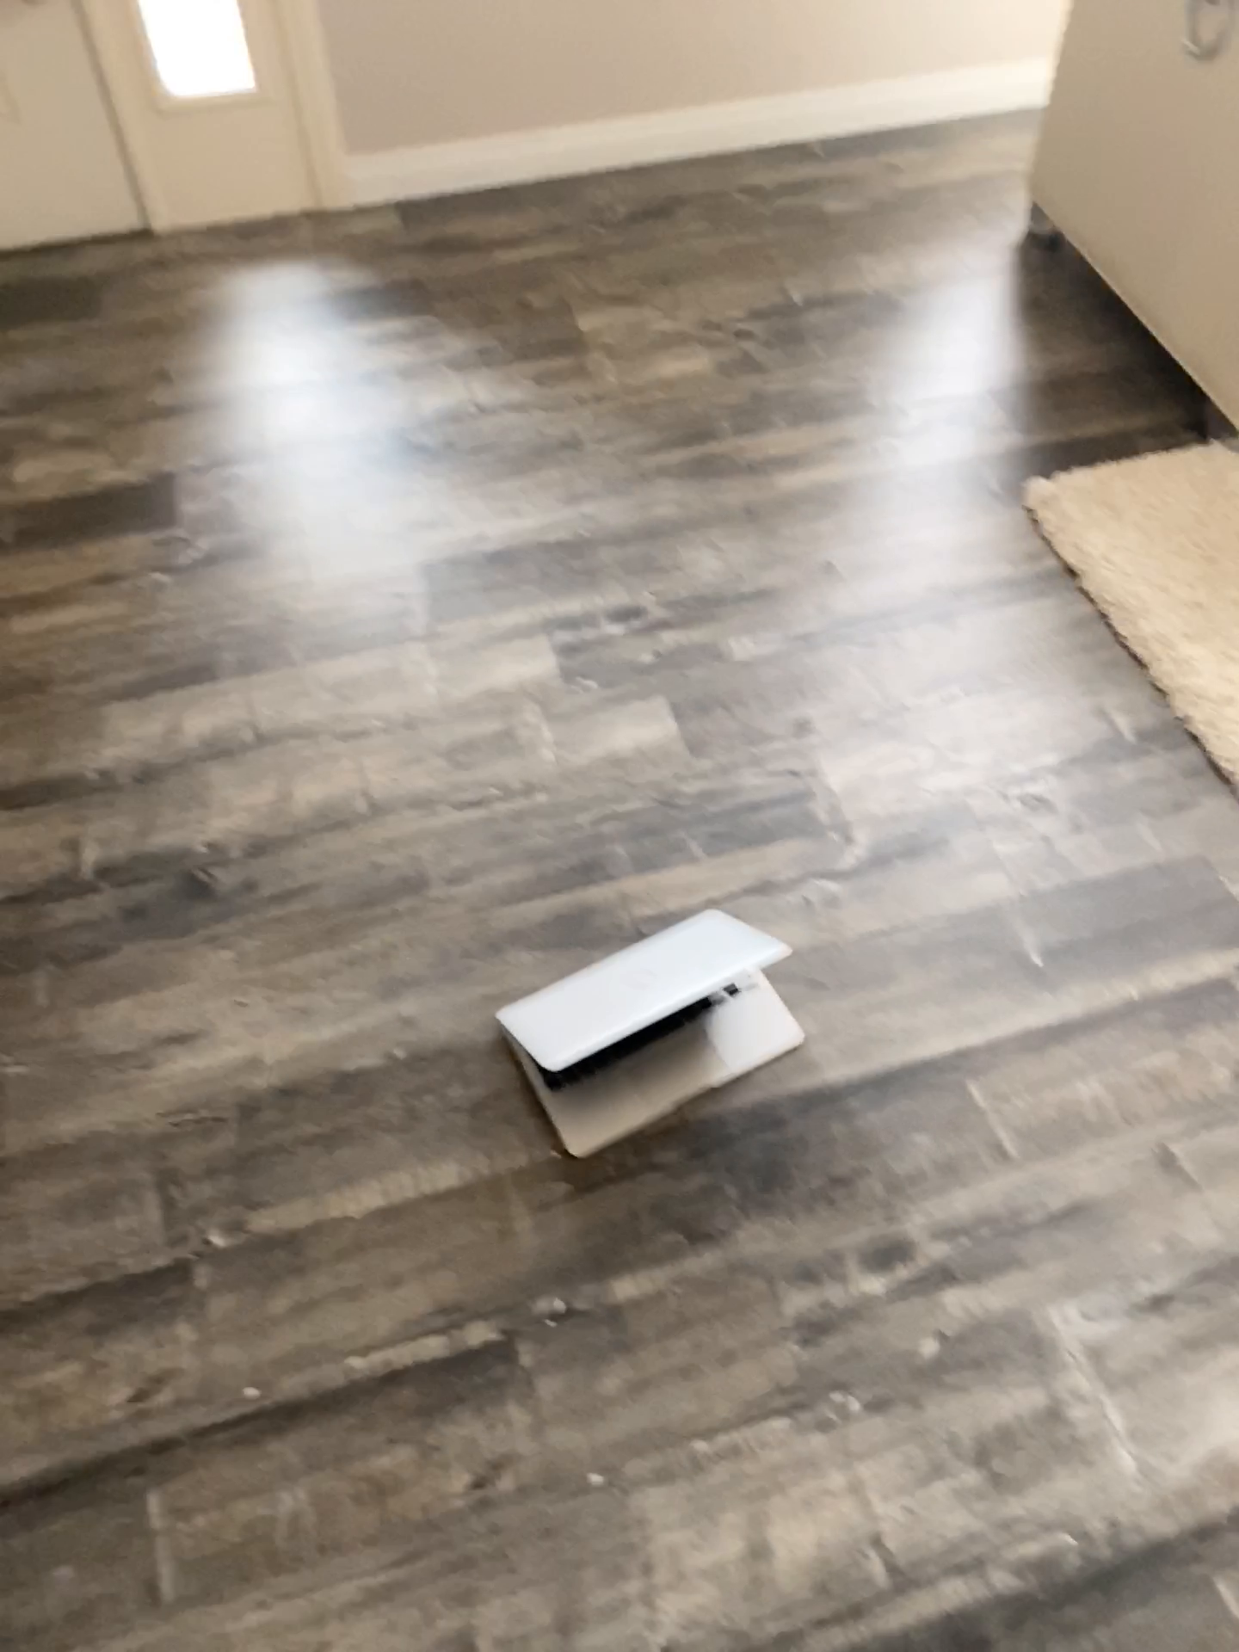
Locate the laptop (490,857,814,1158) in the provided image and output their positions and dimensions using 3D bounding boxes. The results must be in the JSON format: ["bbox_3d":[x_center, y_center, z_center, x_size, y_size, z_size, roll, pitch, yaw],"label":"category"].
[{"bbox_3d":[0.032,0.177,1.274,0.270,0.113,0.173,-23,54,-18],"label":"laptop"}]
